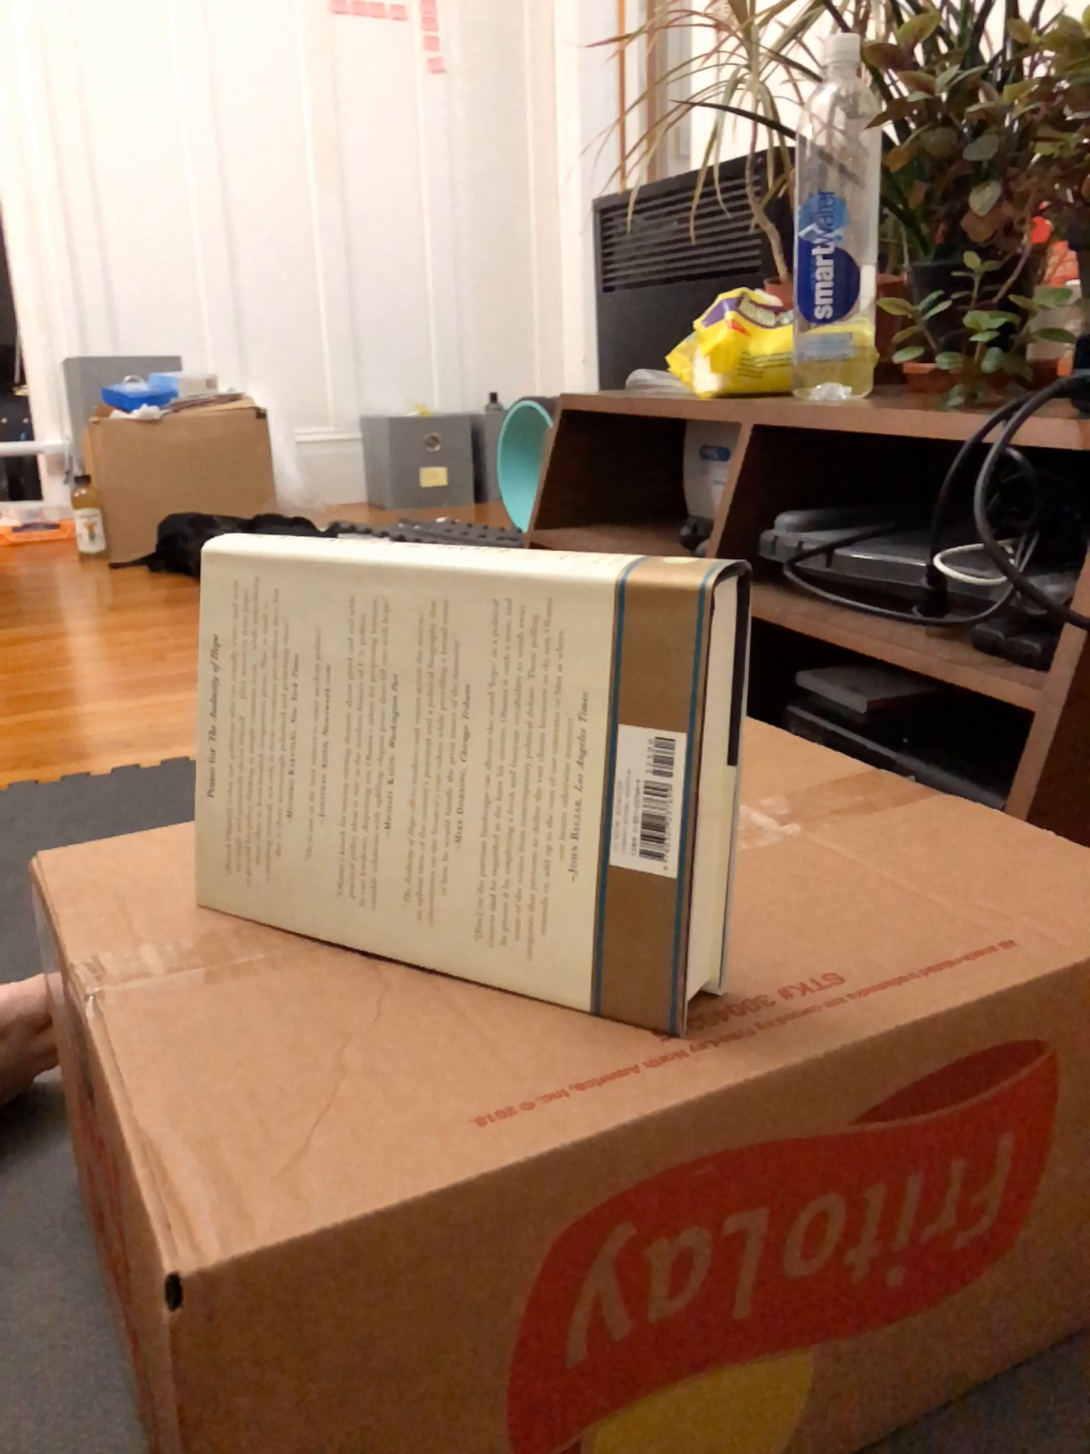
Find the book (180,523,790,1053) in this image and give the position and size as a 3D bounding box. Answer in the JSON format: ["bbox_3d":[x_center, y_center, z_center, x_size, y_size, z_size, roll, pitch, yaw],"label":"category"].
[{"bbox_3d":[-0.037,0.010,0.498,0.250,0.170,0.060,9,9,30],"label":"book"}]
